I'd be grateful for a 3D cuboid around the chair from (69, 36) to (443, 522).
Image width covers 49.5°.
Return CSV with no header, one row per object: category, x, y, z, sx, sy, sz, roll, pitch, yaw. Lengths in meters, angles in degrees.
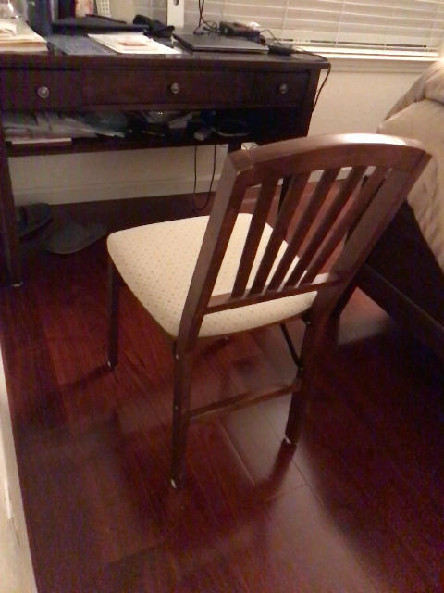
chair,-0.012,-0.086,1.233,0.532,0.893,0.723,-11,39,-25
